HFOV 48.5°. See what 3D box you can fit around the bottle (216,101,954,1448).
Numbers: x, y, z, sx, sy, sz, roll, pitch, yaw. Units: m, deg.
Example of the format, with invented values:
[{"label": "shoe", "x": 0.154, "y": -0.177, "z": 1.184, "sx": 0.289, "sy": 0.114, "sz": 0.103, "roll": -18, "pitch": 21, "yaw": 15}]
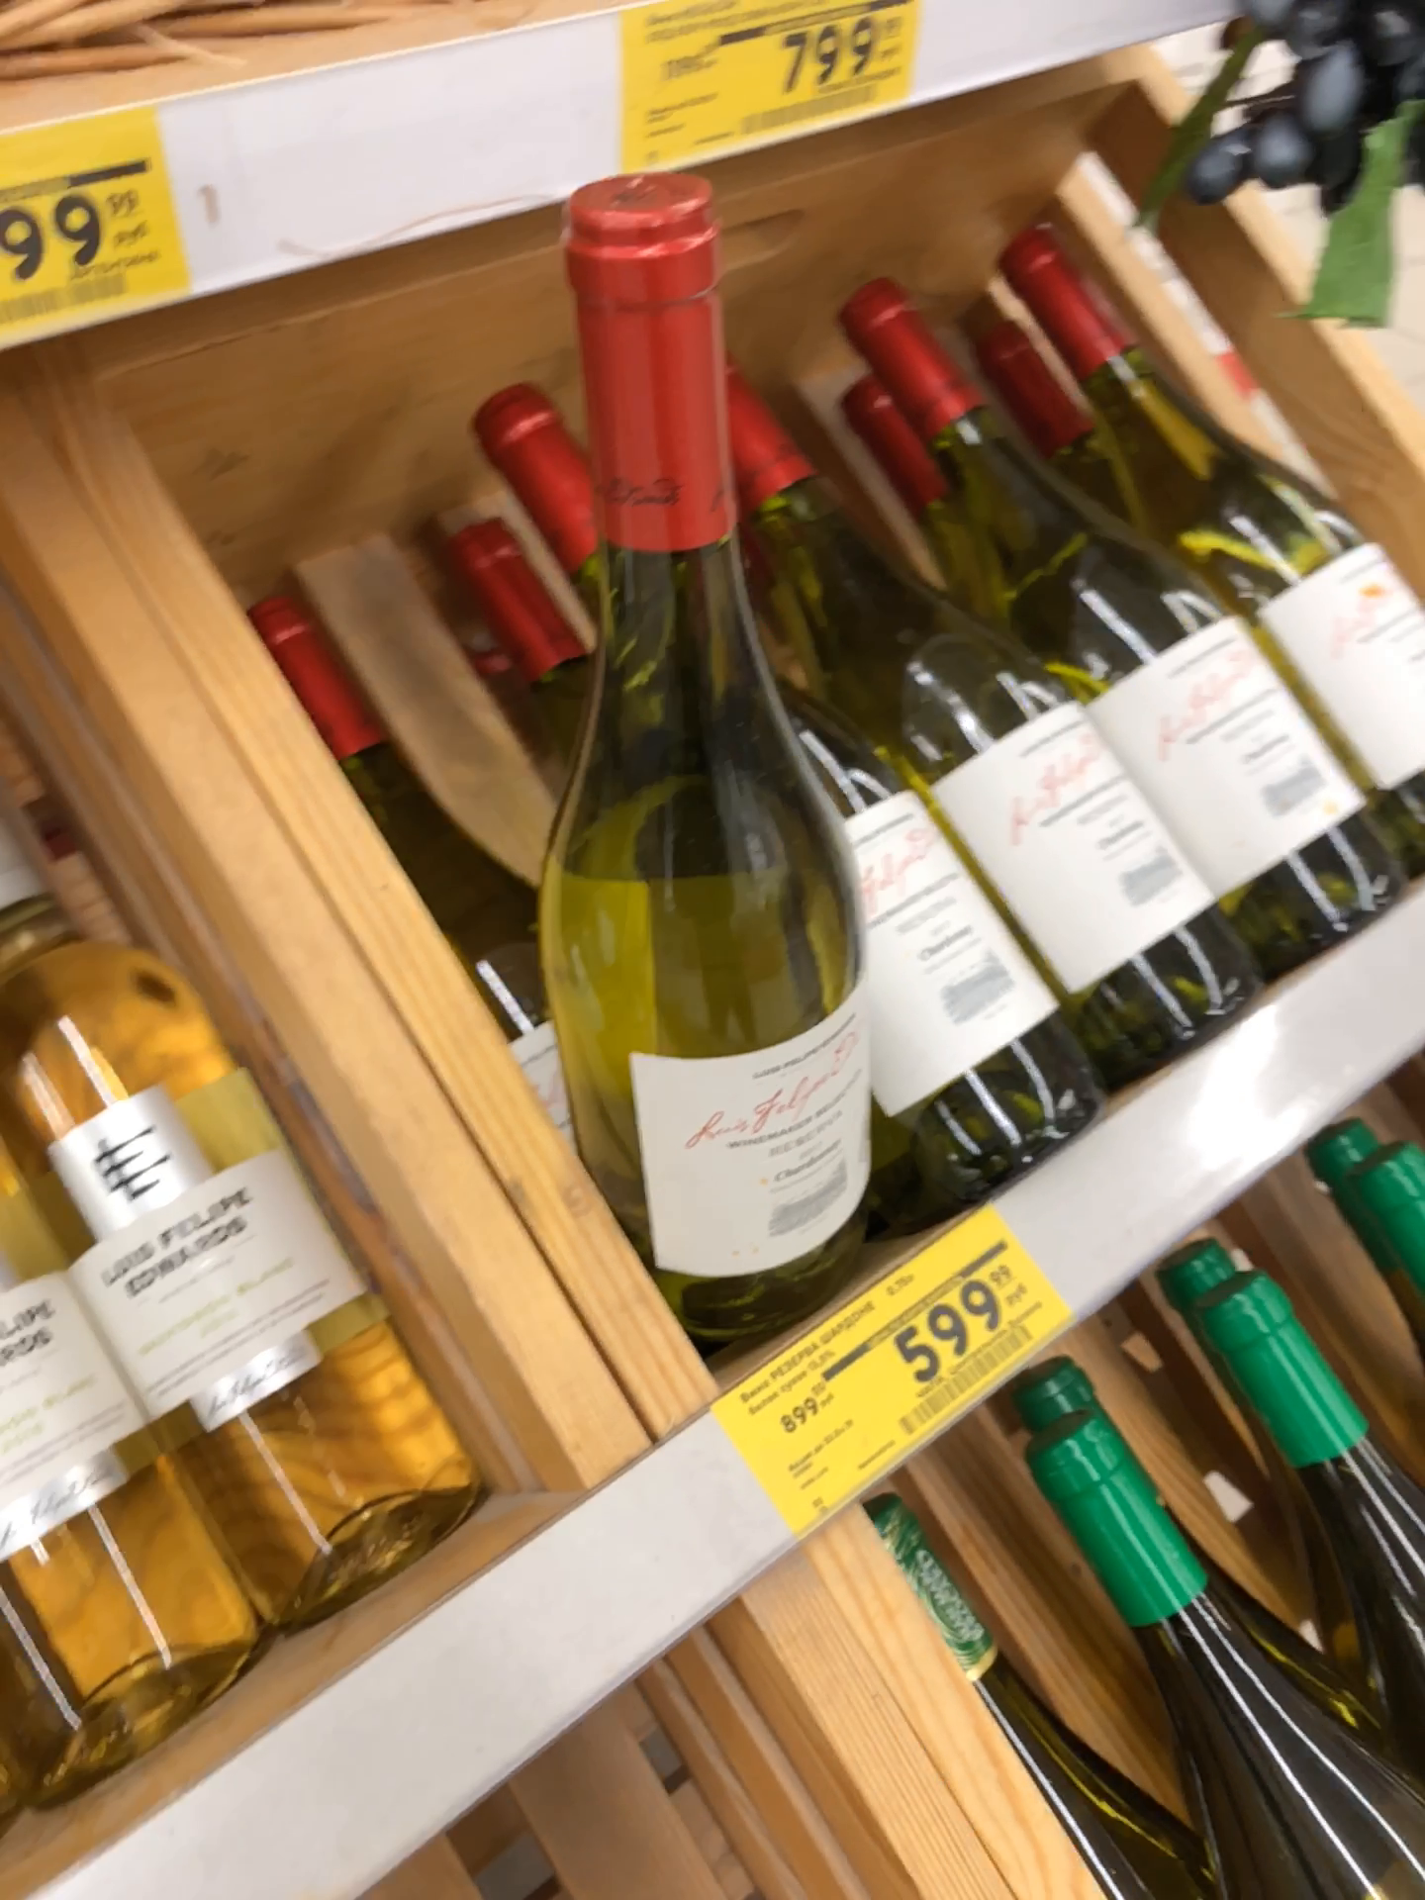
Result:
[{"label": "bottle", "x": -0.014, "y": -0.030, "z": 0.379, "sx": 0.100, "sy": 0.289, "sz": 0.100, "roll": -4, "pitch": 36, "yaw": 3}]
